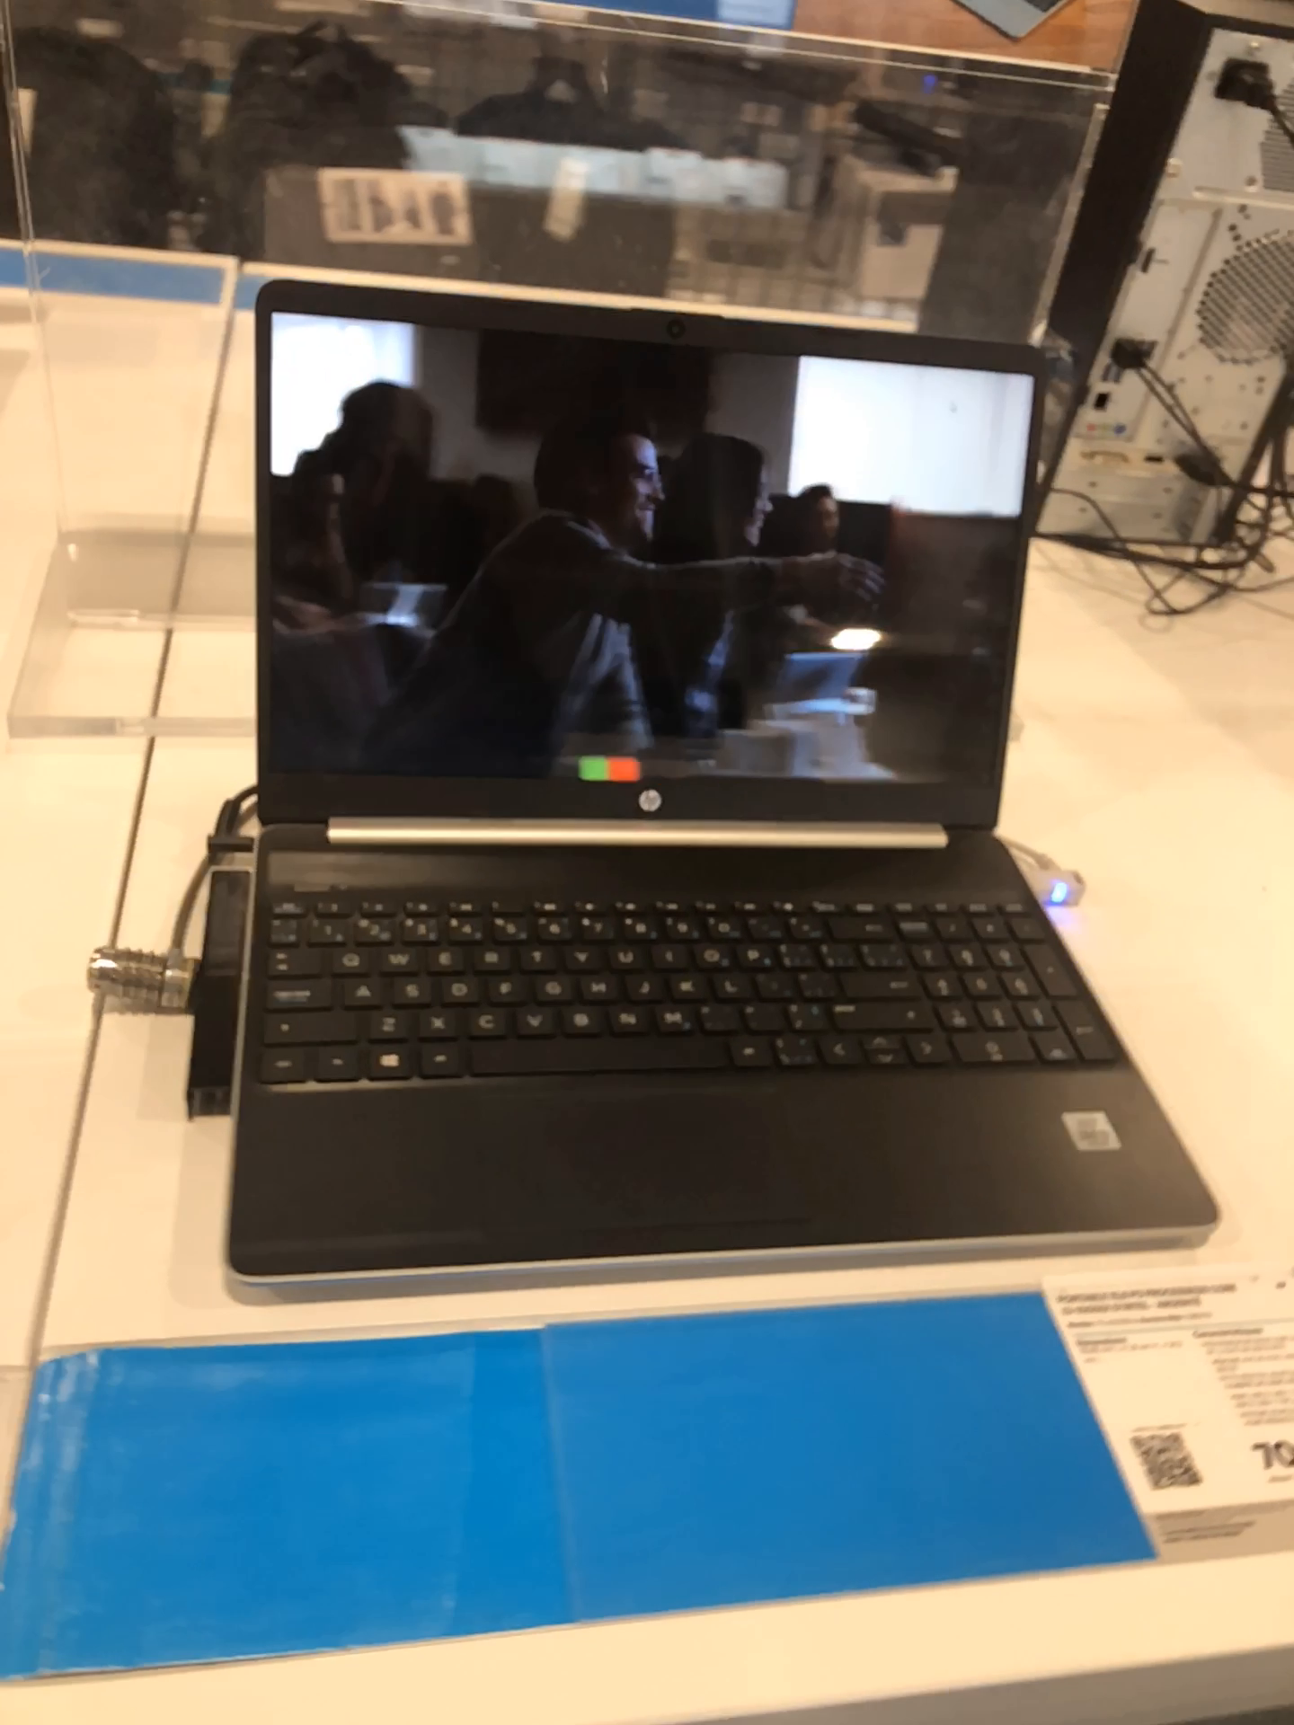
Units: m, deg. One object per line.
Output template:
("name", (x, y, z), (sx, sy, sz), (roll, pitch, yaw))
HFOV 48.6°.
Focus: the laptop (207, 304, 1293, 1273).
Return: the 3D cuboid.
("laptop", (0.027, -0.051, 0.562), (0.346, 0.196, 0.335), (0, 38, -13))
